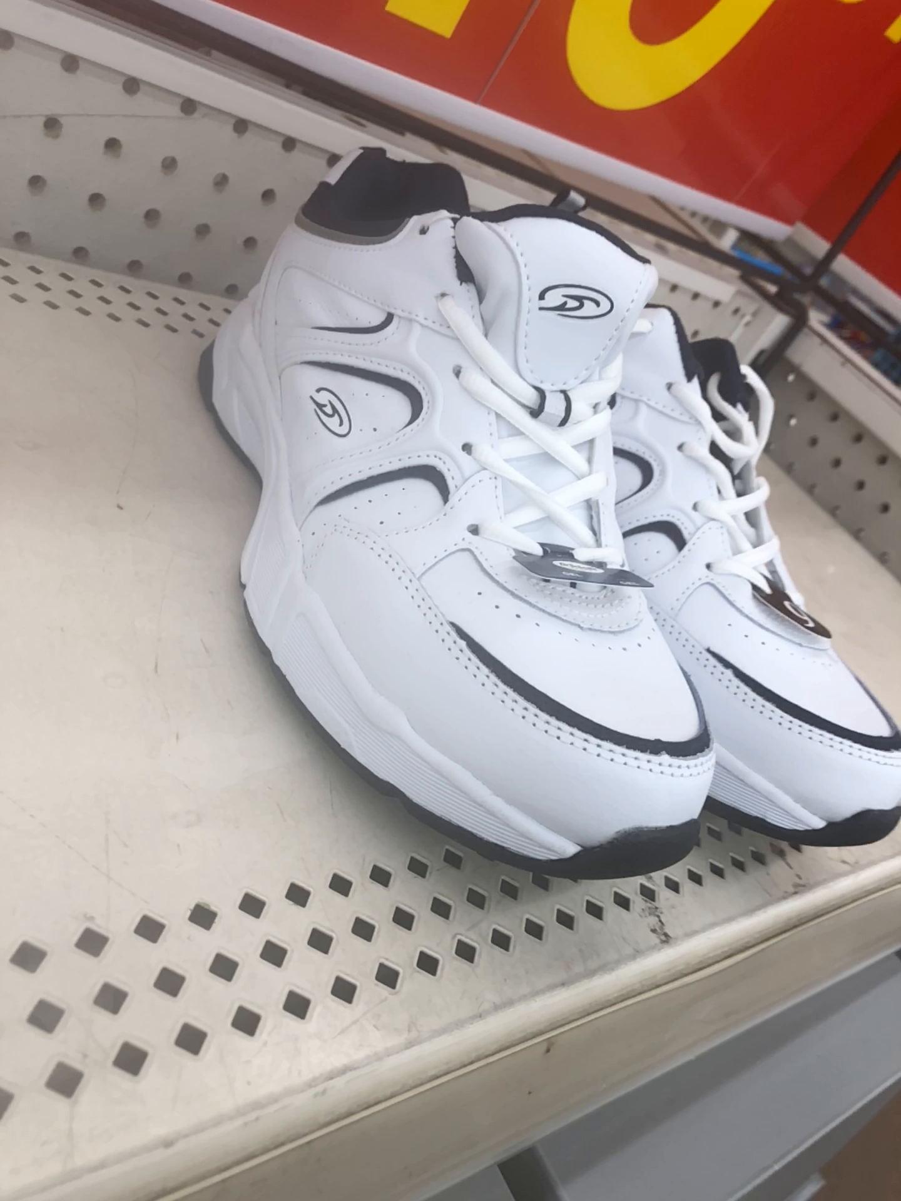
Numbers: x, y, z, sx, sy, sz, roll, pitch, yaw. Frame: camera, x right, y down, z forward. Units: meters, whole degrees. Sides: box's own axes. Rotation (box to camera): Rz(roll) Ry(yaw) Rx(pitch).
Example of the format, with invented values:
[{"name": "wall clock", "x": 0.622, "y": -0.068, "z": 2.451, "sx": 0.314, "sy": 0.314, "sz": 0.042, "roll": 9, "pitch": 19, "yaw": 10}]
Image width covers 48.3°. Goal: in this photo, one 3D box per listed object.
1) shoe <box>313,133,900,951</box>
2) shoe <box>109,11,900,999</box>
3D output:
[{"name": "shoe", "x": 0.069, "y": -0.034, "z": 0.359, "sx": 0.110, "sy": 0.120, "sz": 0.260, "roll": 4, "pitch": 42, "yaw": -41}, {"name": "shoe", "x": -0.004, "y": -0.043, "z": 0.295, "sx": 0.110, "sy": 0.120, "sz": 0.260, "roll": 8, "pitch": 40, "yaw": -38}]
